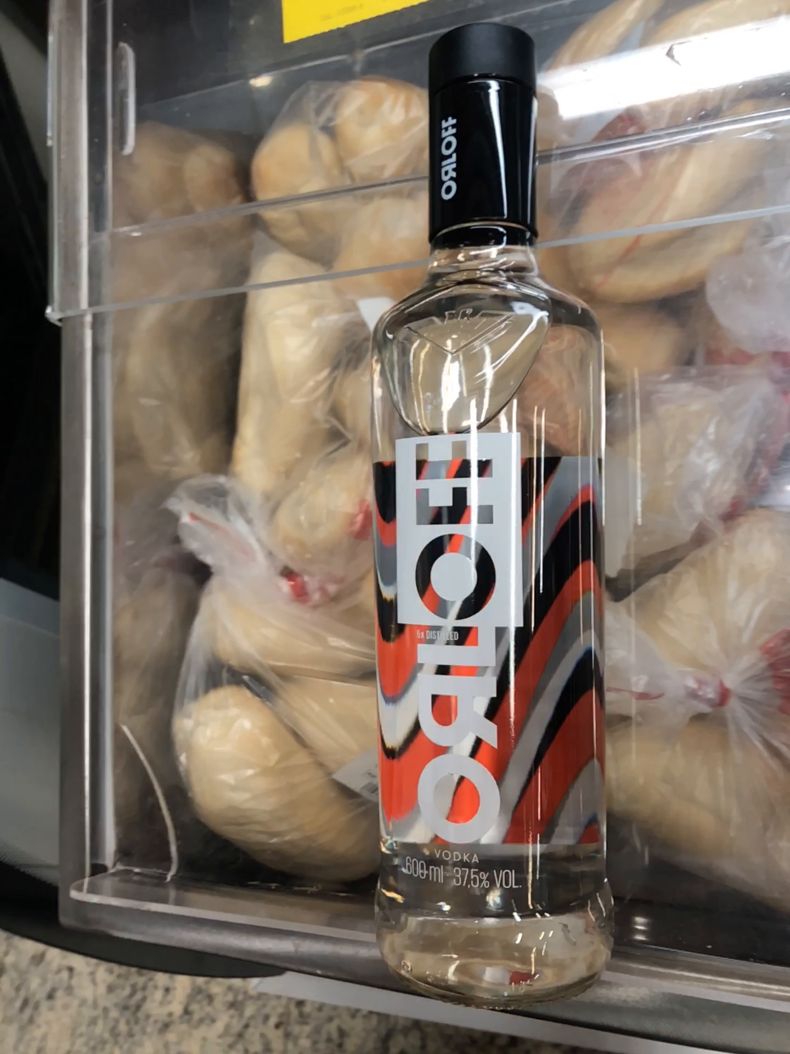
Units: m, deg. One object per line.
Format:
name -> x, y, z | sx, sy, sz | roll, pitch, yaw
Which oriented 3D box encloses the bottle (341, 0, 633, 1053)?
bottle -> 0.031, -0.015, 0.270 | 0.070, 0.070, 0.300 | -1, 88, 23
